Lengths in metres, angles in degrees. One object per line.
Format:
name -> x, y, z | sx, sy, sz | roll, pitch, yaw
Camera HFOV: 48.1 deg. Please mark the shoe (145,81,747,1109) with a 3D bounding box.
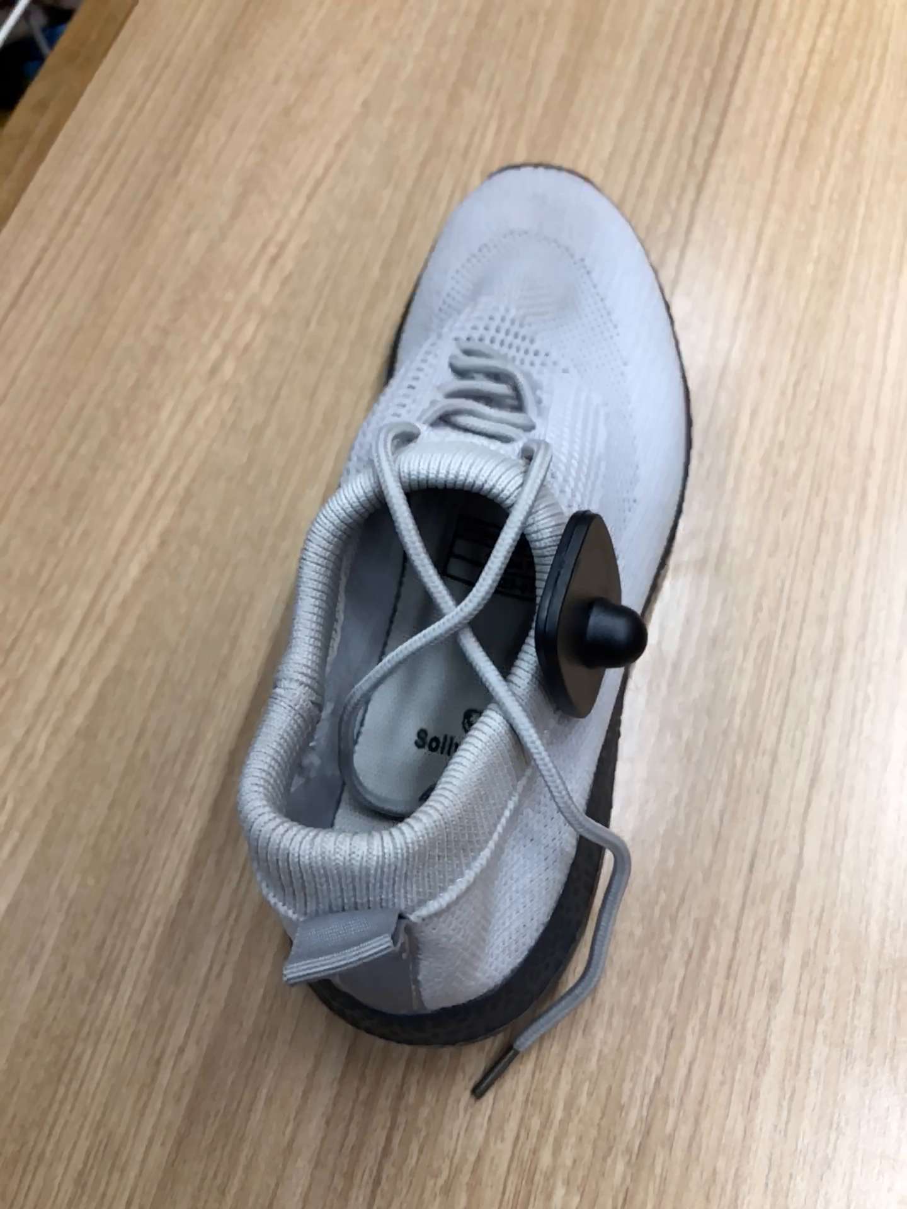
shoe -> 0.015, -0.013, 0.301 | 0.100, 0.100, 0.271 | 9, 67, 9
